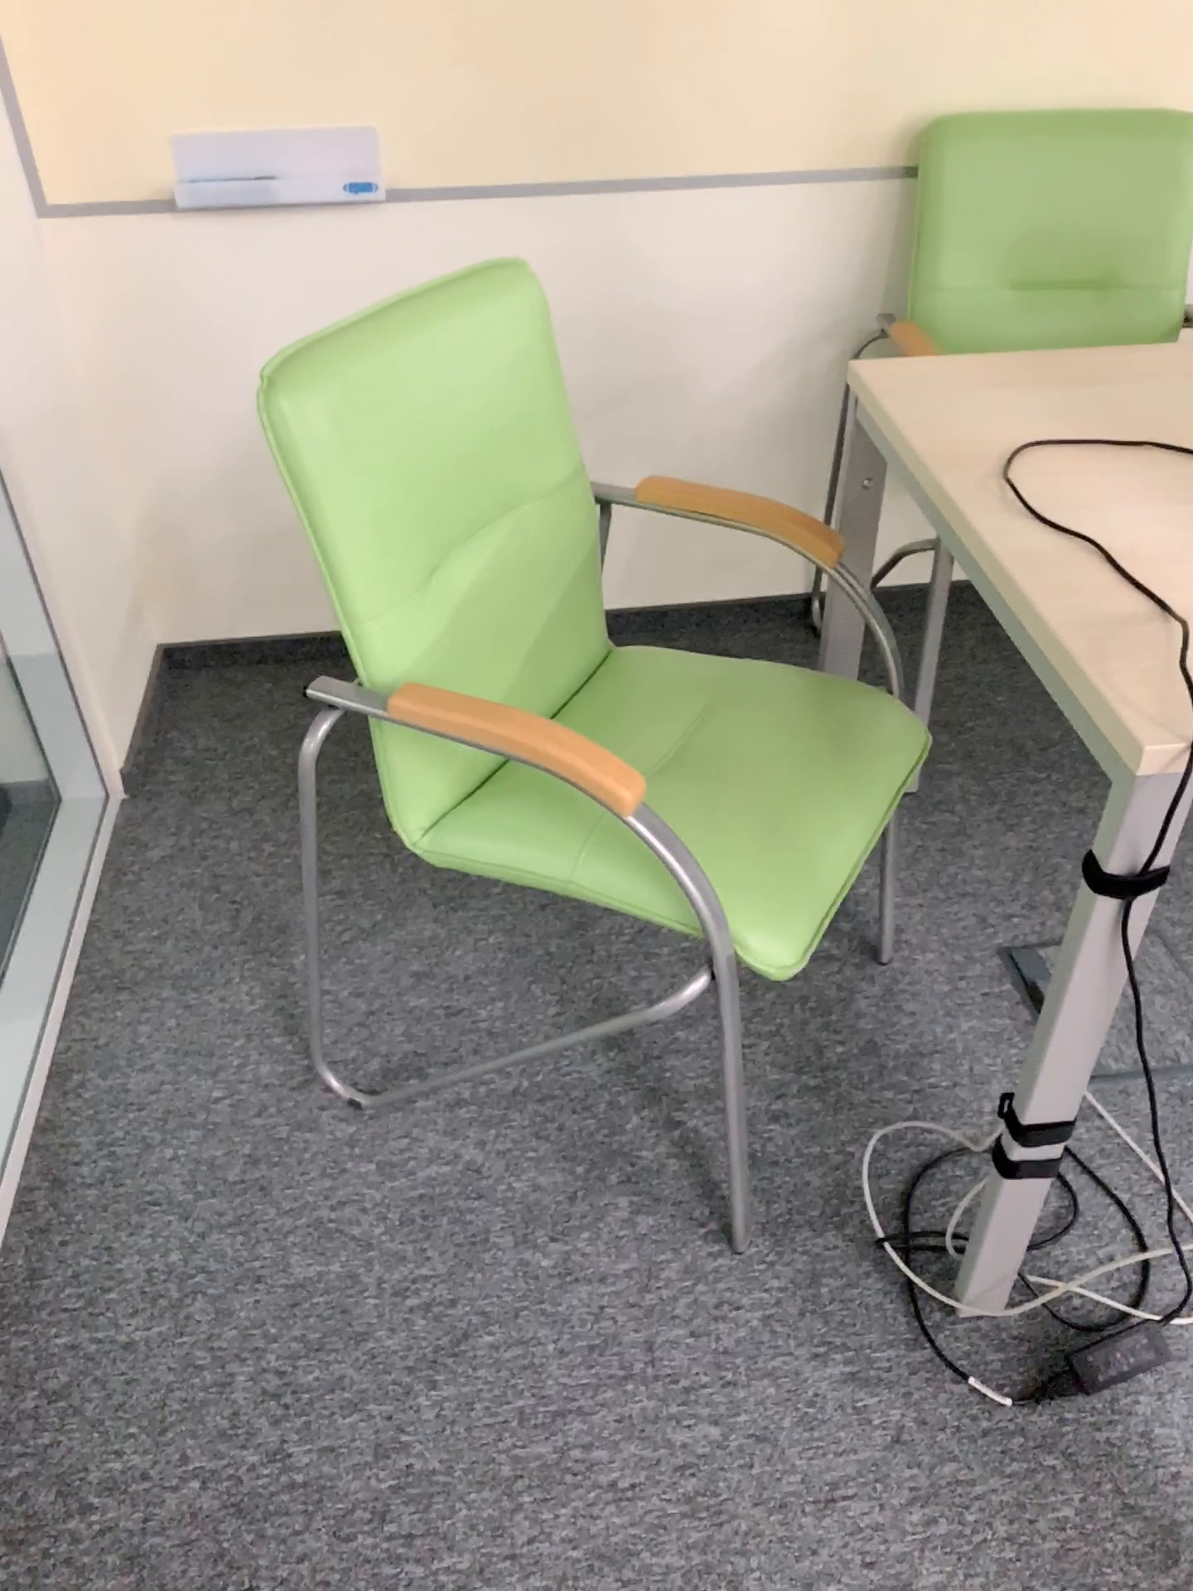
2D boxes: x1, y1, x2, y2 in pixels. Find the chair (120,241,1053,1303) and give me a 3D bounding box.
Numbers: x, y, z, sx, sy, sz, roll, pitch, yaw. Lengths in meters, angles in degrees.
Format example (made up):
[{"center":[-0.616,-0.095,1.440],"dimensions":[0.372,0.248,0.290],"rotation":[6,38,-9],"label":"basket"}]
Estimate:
[{"center":[0.034,-0.064,1.451],"dimensions":[0.651,0.895,0.673],"rotation":[19,42,23],"label":"chair"}]
